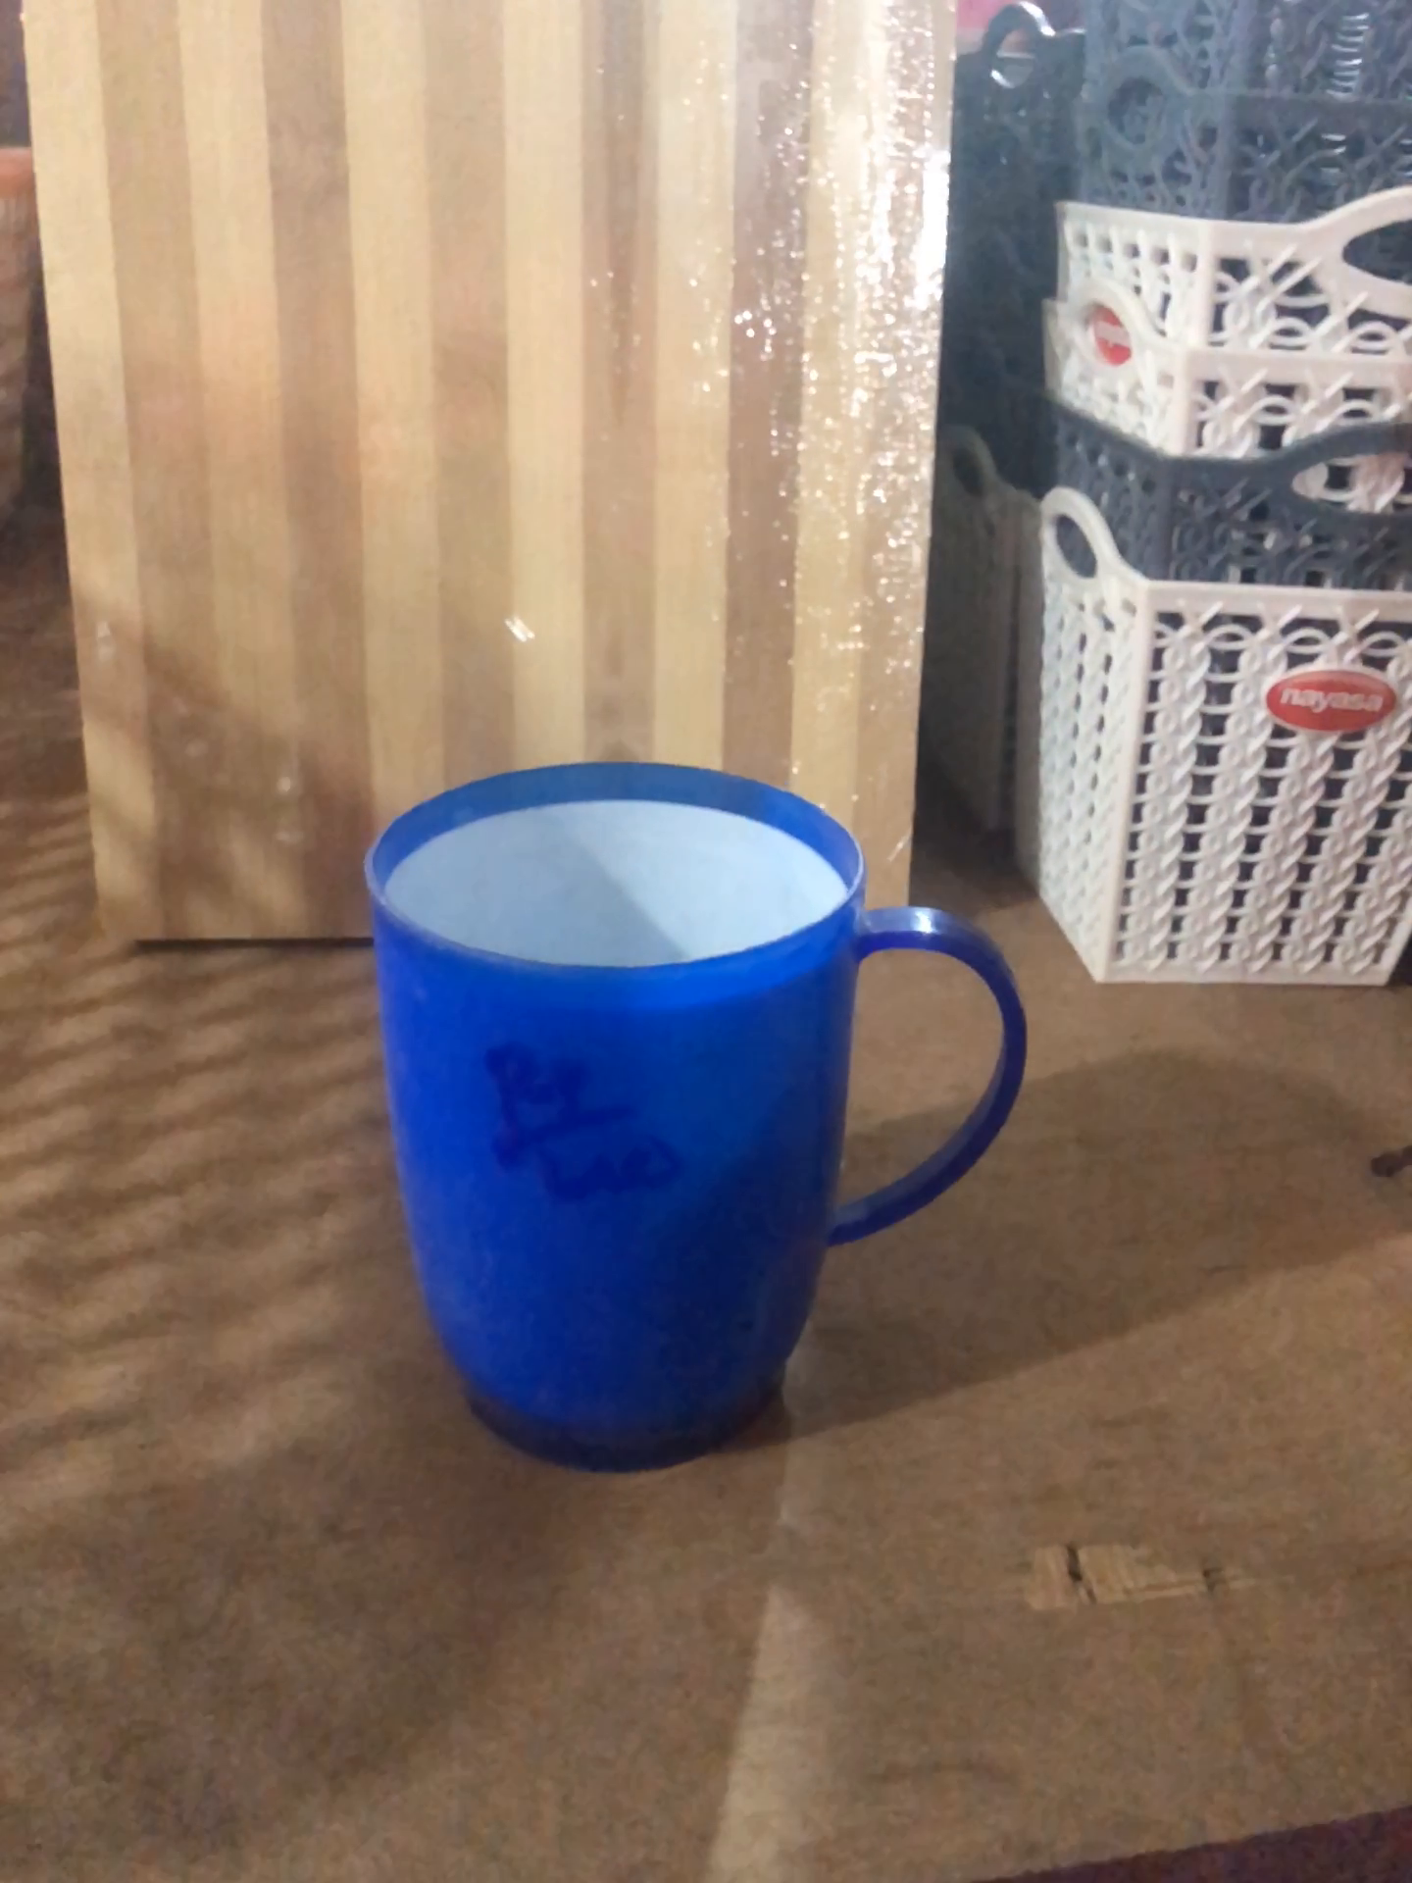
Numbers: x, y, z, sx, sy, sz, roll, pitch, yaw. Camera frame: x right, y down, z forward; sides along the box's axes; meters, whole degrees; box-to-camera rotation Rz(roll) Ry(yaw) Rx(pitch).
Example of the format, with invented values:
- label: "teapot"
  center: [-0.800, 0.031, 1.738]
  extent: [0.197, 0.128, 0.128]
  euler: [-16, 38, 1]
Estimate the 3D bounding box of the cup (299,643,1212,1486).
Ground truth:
- label: "cup"
  center: [0.005, 0.018, 0.245]
  extent: [0.110, 0.109, 0.070]
  euler: [0, 28, -2]
